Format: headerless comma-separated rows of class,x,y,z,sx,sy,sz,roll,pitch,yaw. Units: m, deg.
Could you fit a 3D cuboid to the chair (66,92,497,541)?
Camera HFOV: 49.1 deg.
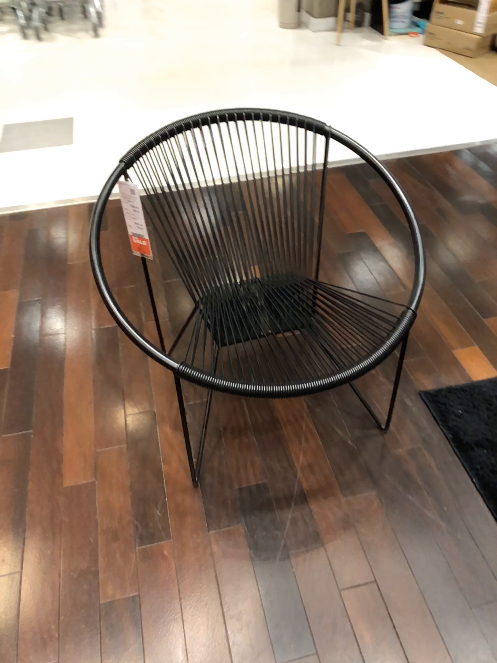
chair,0.010,-0.086,1.351,0.701,0.675,0.735,-13,42,-12
